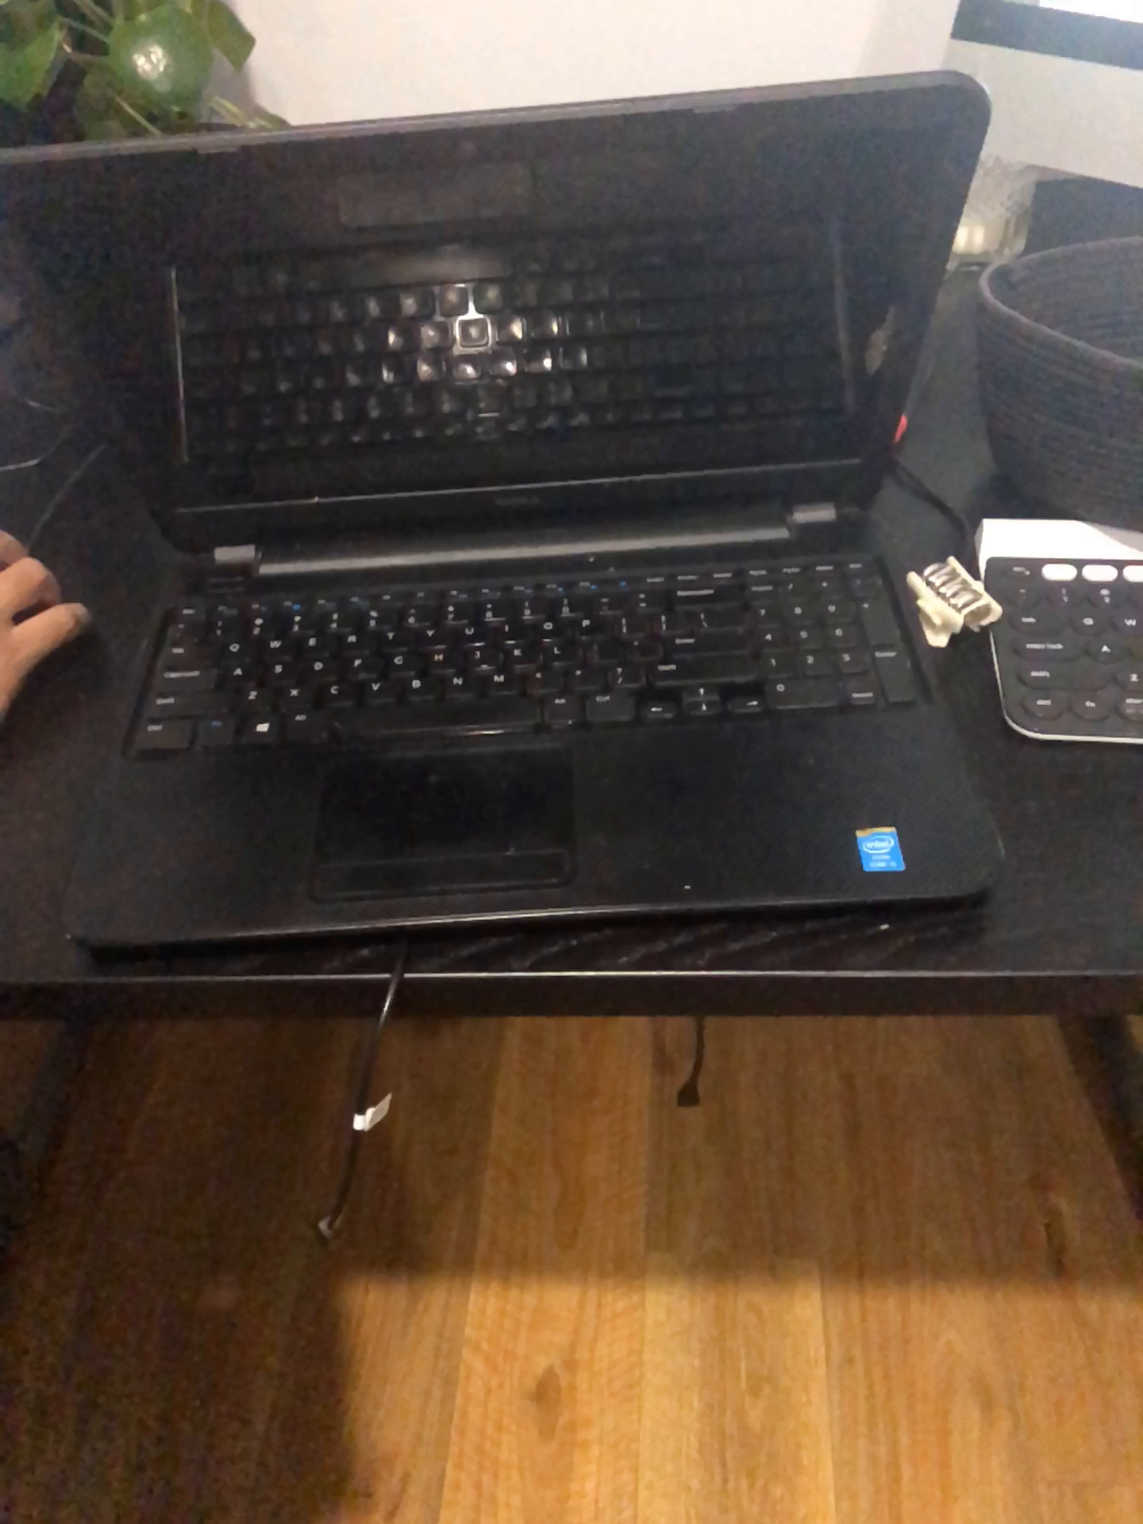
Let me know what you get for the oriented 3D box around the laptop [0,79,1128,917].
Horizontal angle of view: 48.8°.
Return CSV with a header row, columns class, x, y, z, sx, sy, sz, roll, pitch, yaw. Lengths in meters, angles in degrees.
class,x,y,z,sx,sy,sz,roll,pitch,yaw
laptop,-0.035,-0.097,0.485,0.366,0.210,0.207,-3,45,3
